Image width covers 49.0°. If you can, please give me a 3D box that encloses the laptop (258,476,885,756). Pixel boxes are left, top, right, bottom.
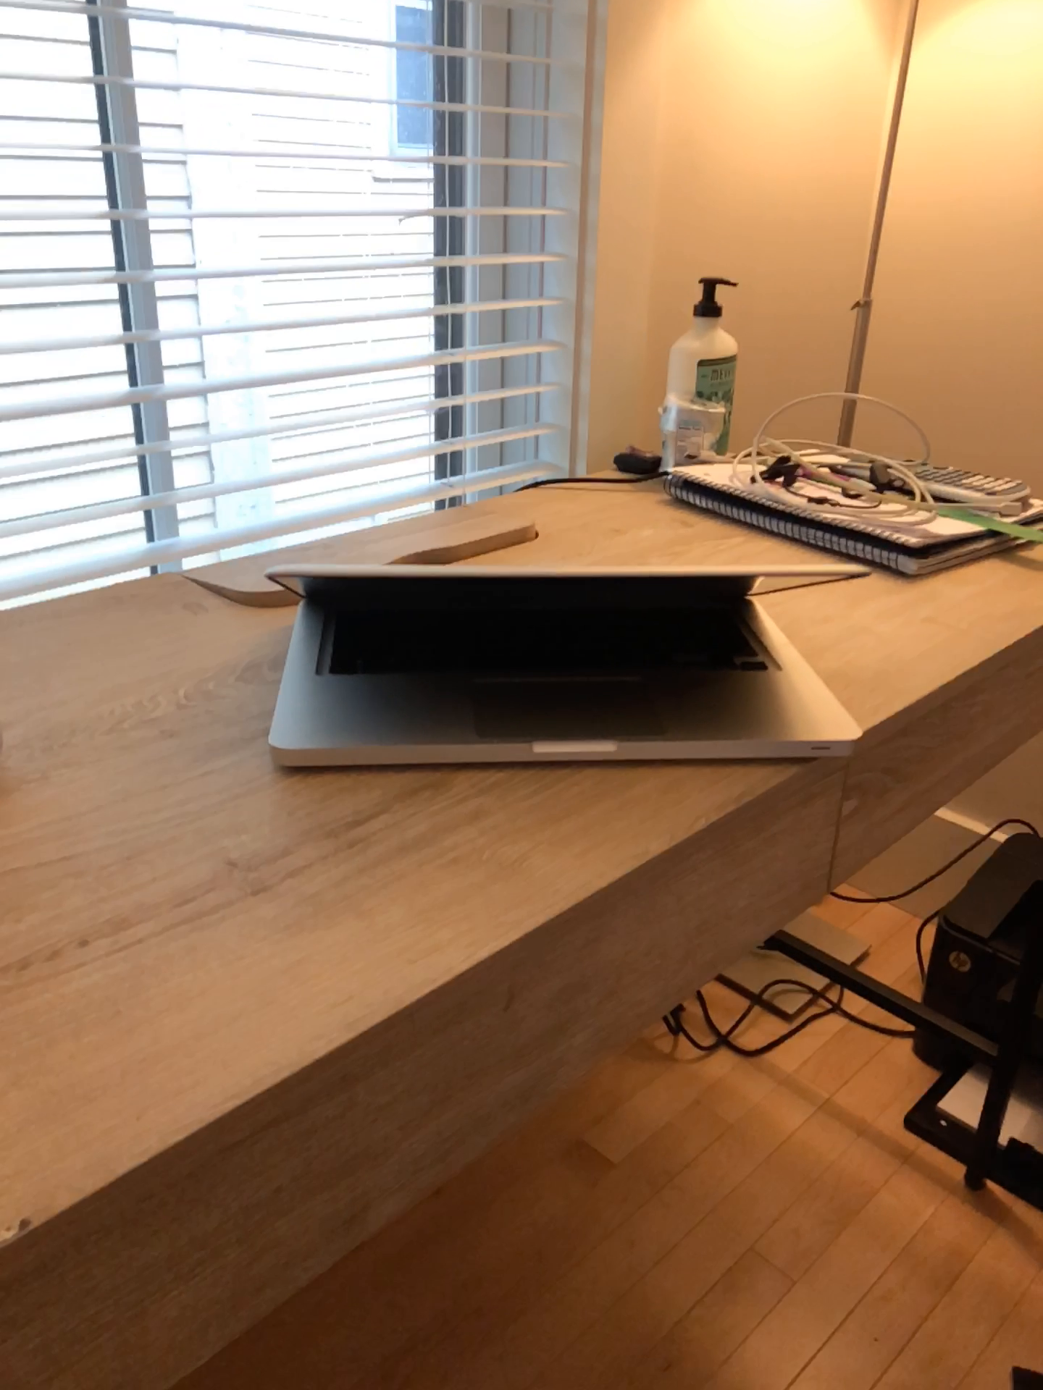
[{"bbox_3d":[0.016,-0.056,0.653,0.300,0.082,0.210,-1,26,-6],"label":"laptop"}]
